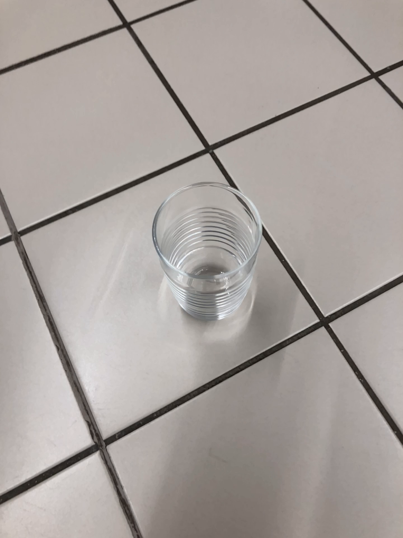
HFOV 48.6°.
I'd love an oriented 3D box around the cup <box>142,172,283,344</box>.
[{"bbox_3d":[0.006,-0.002,0.319,0.076,0.105,0.079,0,67,1],"label":"cup"}]
